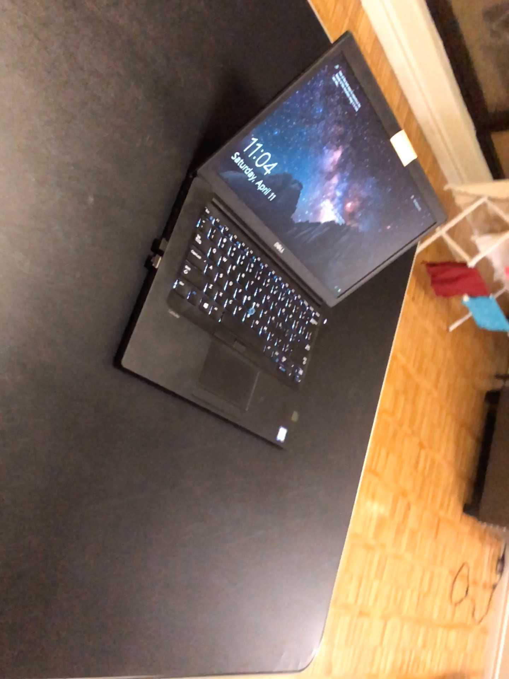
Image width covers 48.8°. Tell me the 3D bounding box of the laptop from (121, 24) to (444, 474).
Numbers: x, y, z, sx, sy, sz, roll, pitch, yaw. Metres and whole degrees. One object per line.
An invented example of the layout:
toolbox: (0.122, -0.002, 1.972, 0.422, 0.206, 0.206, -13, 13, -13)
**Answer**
laptop: (0.069, -0.076, 0.649, 0.321, 0.140, 0.368, 36, 64, -47)
